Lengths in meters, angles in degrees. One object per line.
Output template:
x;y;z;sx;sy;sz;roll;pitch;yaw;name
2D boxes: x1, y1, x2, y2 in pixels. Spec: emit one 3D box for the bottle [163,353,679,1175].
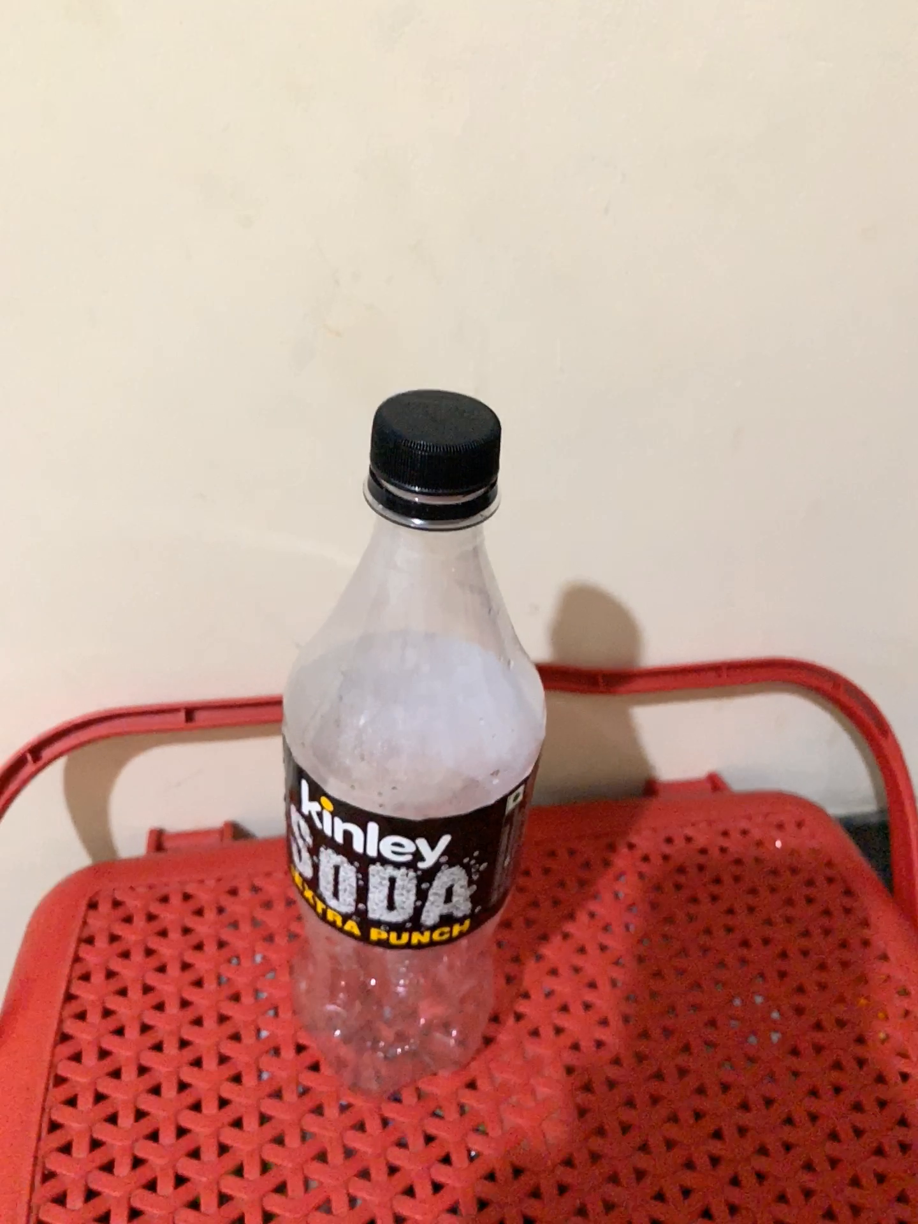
-0.012;0.059;0.259;0.080;0.228;0.071;16;42;10;bottle
